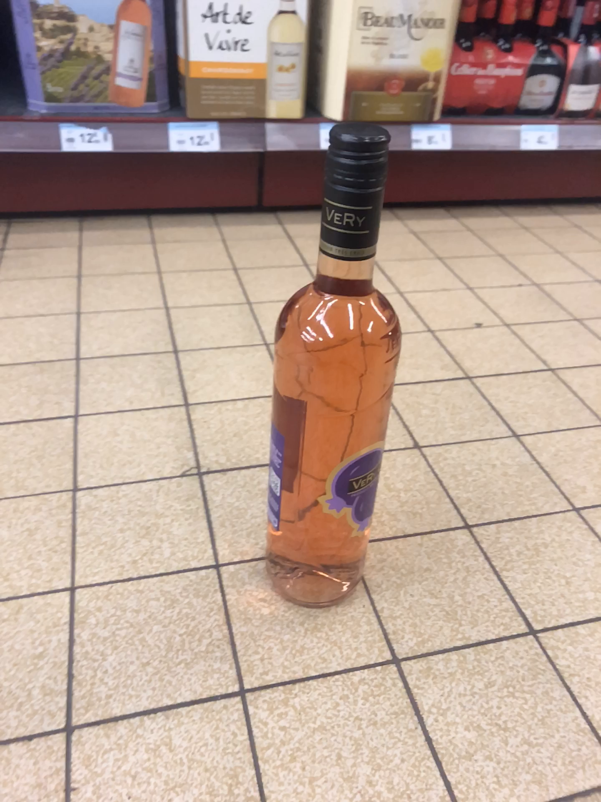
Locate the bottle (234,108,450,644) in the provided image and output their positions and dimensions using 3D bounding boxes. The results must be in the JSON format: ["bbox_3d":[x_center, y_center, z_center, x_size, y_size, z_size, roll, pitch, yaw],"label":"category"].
[{"bbox_3d":[0.015,0.004,0.381,0.080,0.298,0.081,3,34,-2],"label":"bottle"}]
